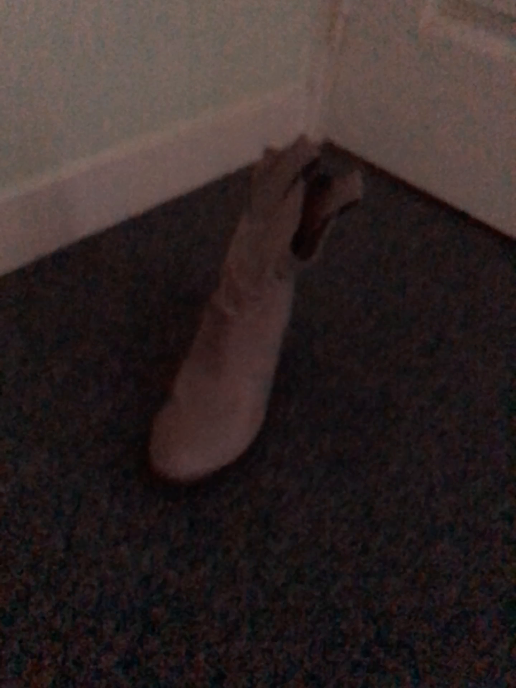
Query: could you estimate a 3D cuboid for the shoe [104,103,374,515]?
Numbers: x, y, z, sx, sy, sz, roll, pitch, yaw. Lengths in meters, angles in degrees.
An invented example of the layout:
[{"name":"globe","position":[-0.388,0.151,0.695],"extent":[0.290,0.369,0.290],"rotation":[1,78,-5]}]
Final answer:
[{"name":"shoe","position":[-0.006,-0.034,0.486],"extent":[0.130,0.219,0.242],"rotation":[14,45,6]}]
